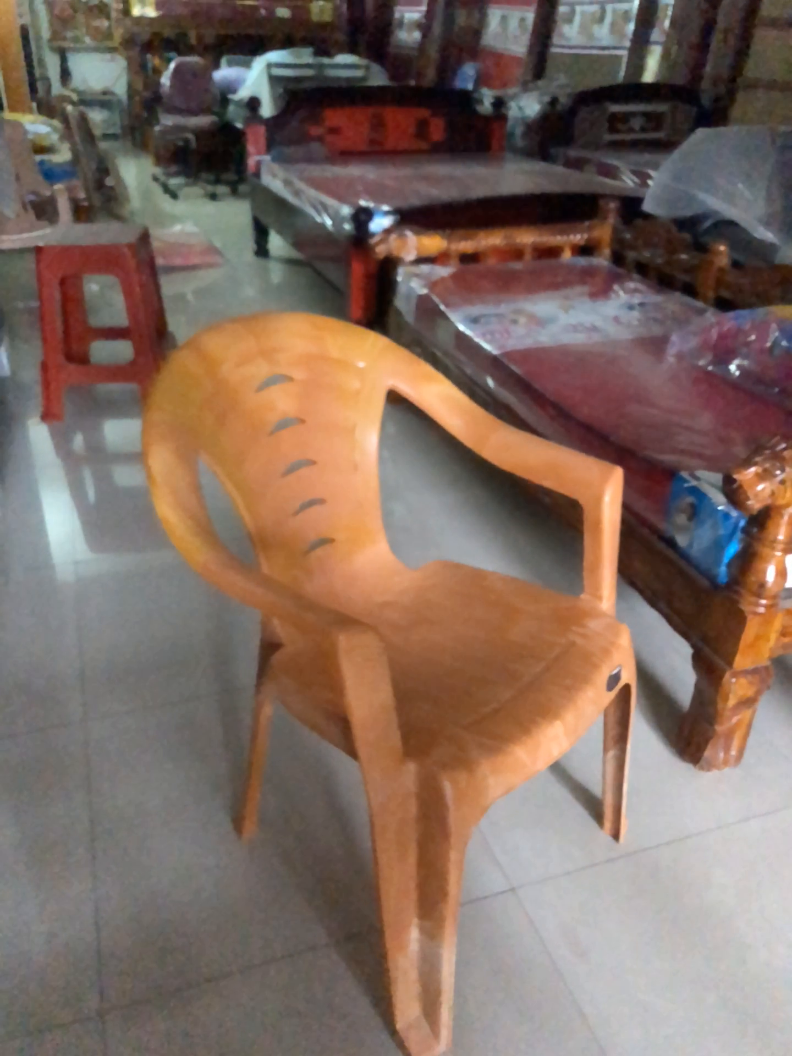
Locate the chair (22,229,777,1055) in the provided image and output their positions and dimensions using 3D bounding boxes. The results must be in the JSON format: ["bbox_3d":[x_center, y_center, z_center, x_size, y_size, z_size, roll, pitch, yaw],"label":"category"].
[{"bbox_3d":[0.016,0.109,1.204,0.600,0.846,0.633,23,35,34],"label":"chair"}]
